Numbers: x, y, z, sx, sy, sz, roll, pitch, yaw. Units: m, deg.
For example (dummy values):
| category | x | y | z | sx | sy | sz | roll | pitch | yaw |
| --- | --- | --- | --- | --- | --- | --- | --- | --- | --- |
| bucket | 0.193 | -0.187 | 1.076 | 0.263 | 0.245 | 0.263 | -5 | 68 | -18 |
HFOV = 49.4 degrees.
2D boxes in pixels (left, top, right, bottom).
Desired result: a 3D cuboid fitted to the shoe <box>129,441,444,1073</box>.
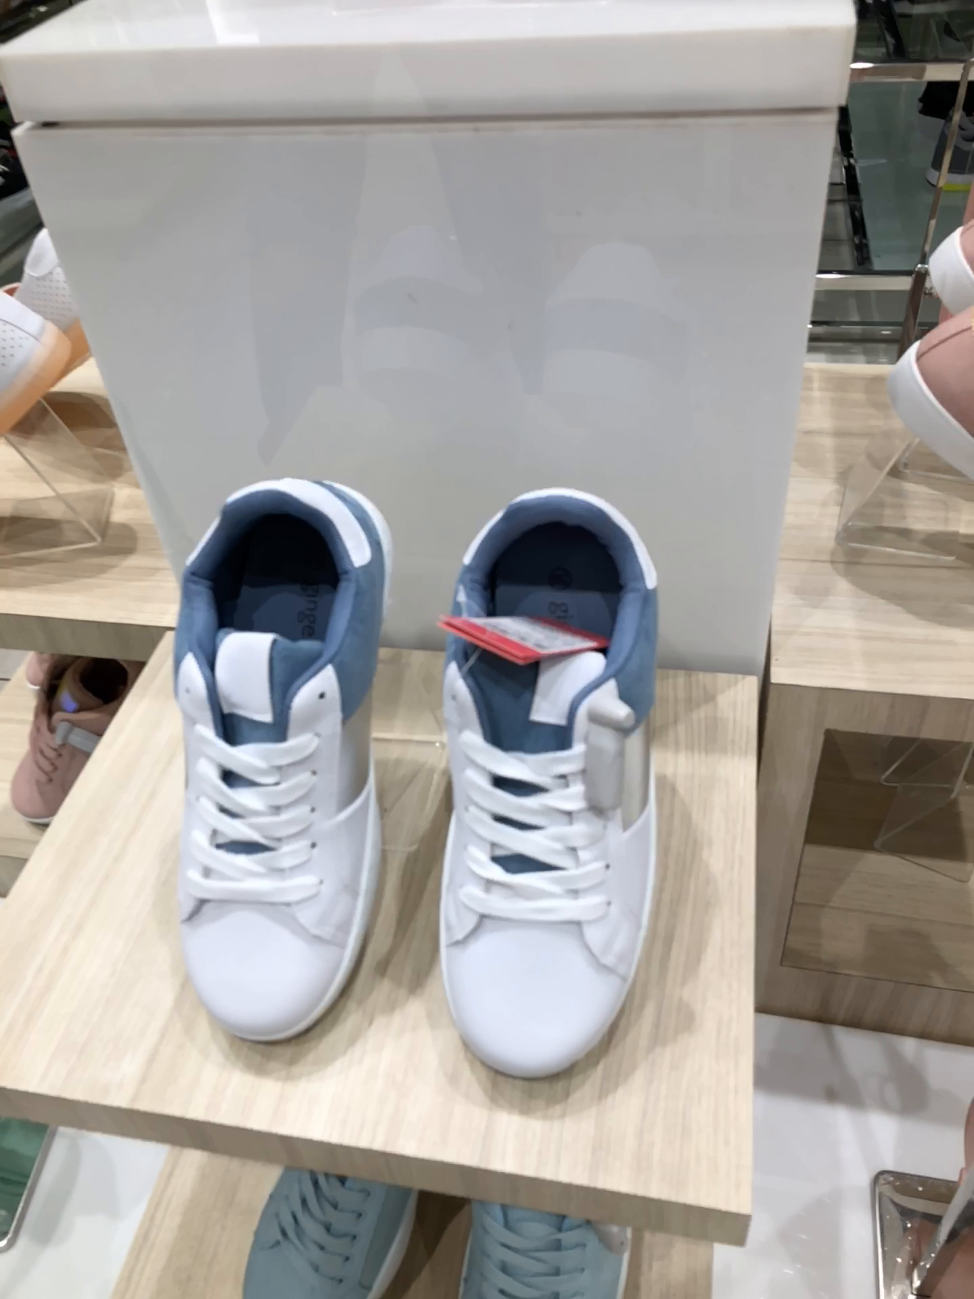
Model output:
| category | x | y | z | sx | sy | sz | roll | pitch | yaw |
| --- | --- | --- | --- | --- | --- | --- | --- | --- | --- |
| shoe | -0.089 | 0.043 | 0.494 | 0.100 | 0.260 | 0.090 | 5 | 3 | 12 |

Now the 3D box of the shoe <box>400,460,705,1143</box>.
| category | x | y | z | sx | sy | sz | roll | pitch | yaw |
| --- | --- | --- | --- | --- | --- | --- | --- | --- | --- |
| shoe | 0.033 | 0.057 | 0.461 | 0.100 | 0.260 | 0.090 | 5 | 3 | 12 |
